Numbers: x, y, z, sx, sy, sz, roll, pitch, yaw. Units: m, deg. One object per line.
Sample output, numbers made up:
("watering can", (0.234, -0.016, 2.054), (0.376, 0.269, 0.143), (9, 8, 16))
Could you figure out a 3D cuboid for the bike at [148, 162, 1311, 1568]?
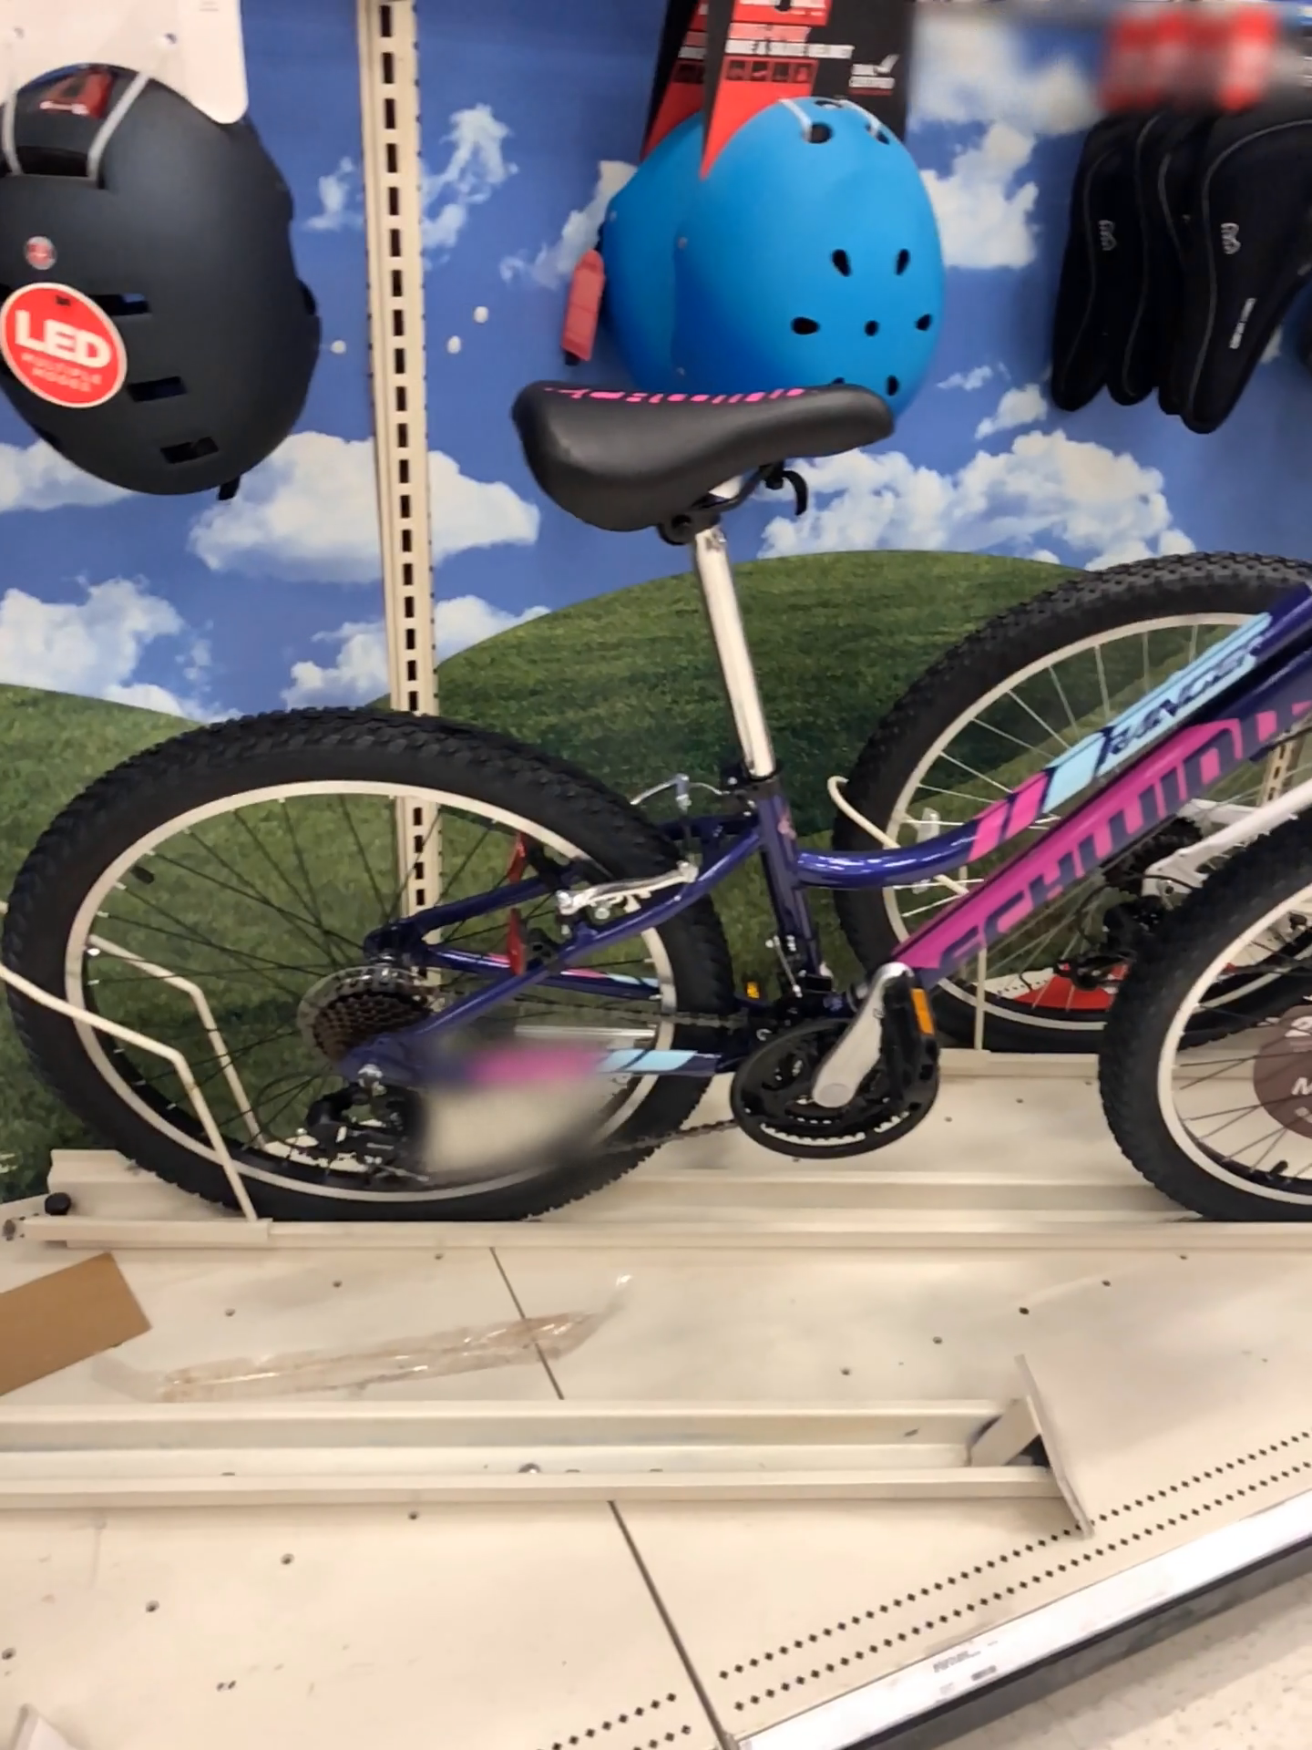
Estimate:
("bike", (0.384, -0.053, 1.051), (1.222, 0.798, 0.571), (3, 28, 2))
